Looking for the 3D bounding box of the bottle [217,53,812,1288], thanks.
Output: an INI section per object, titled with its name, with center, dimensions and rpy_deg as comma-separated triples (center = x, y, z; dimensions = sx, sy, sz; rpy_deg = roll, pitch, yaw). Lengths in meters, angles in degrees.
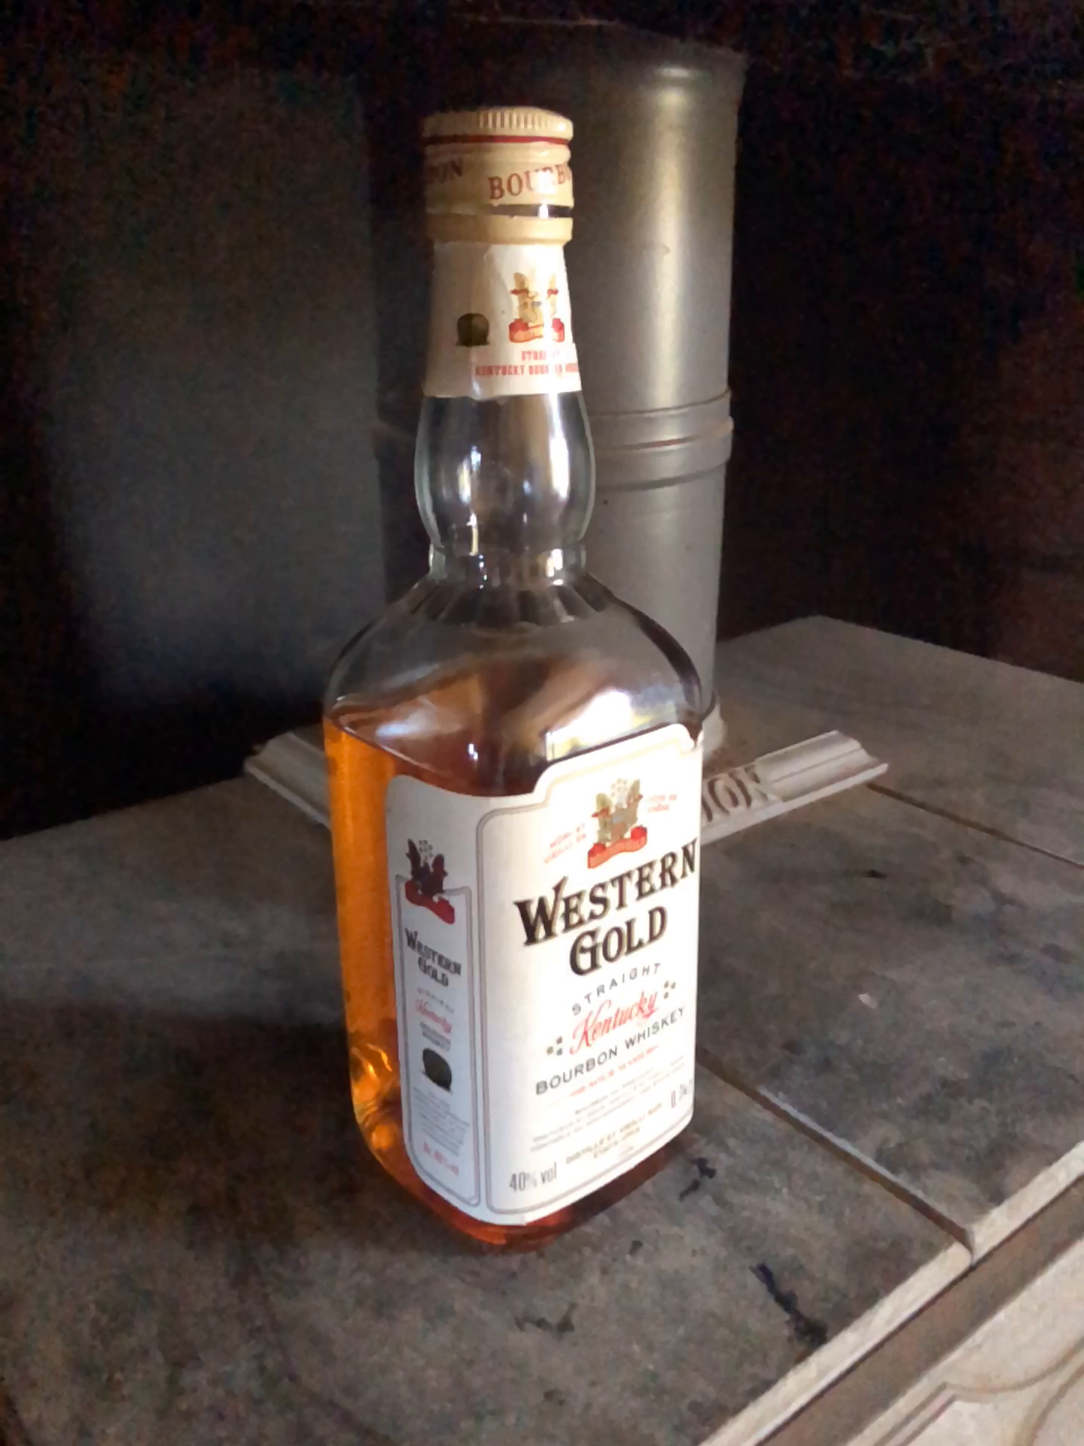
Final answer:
[bottle]
center = -0.003, -0.009, 0.285
dimensions = 0.090, 0.249, 0.080
rpy_deg = -18, 26, -36
